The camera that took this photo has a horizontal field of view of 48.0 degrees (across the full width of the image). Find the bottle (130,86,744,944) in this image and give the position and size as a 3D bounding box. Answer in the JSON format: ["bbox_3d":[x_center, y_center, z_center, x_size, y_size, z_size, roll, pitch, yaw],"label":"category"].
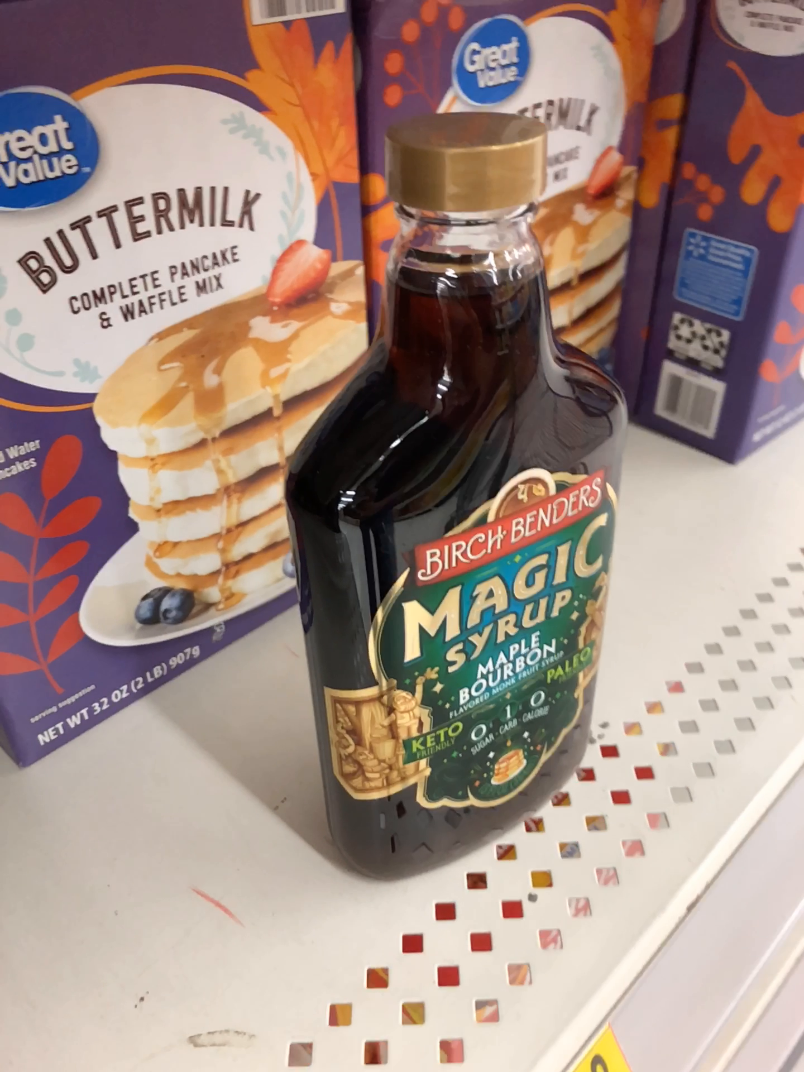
[{"bbox_3d":[0.010,0.002,0.215,0.100,0.180,0.050,-23,41,-26],"label":"bottle"}]
